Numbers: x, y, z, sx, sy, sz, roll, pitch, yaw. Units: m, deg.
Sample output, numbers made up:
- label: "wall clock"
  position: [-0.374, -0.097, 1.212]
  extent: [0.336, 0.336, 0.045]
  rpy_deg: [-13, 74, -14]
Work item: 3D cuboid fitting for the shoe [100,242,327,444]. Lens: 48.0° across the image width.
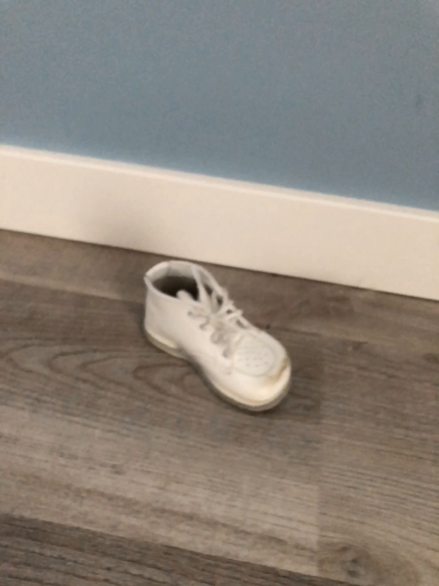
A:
- label: "shoe"
  position: [-0.008, 0.031, 0.361]
  extent: [0.150, 0.060, 0.060]
  rpy_deg: [29, 49, 23]
